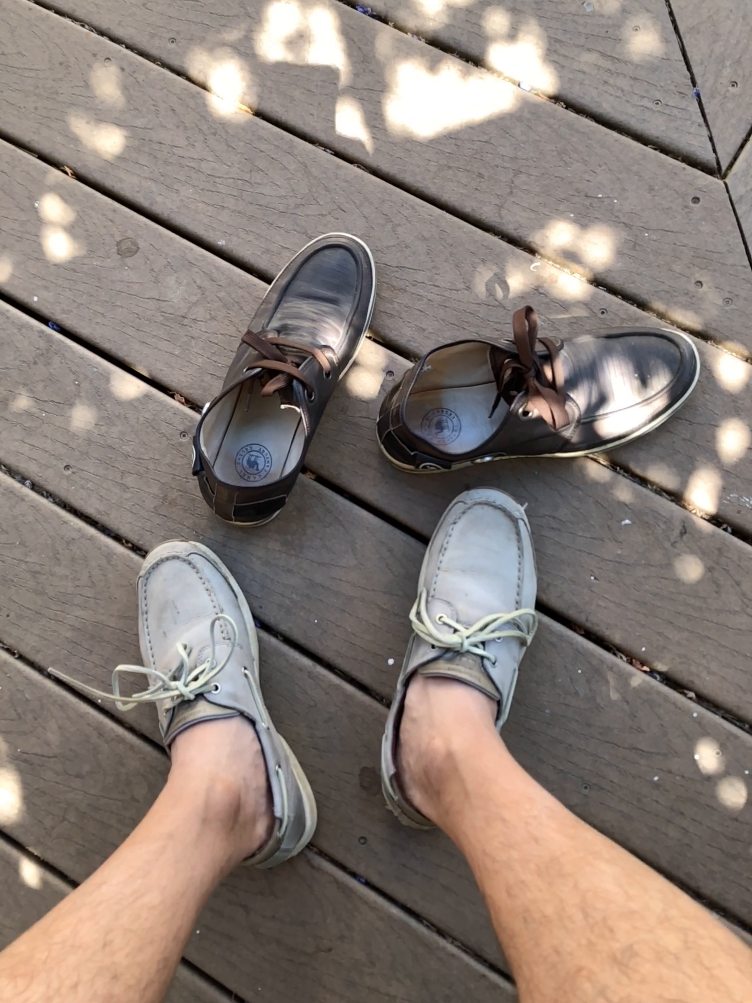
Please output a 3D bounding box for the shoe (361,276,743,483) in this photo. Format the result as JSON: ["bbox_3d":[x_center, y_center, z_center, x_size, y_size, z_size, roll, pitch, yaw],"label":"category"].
[{"bbox_3d":[0.136,-0.095,0.676,0.277,0.080,0.109,-9,83,5],"label":"shoe"}]

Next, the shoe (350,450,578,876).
[{"bbox_3d":[0.070,0.120,0.656,0.109,0.101,0.293,12,86,6],"label":"shoe"}]

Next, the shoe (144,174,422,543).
[{"bbox_3d":[-0.073,-0.115,0.693,0.109,0.069,0.278,26,89,7],"label":"shoe"}]

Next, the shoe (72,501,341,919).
[{"bbox_3d":[-0.135,0.159,0.668,0.109,0.086,0.292,-21,83,3],"label":"shoe"}]
